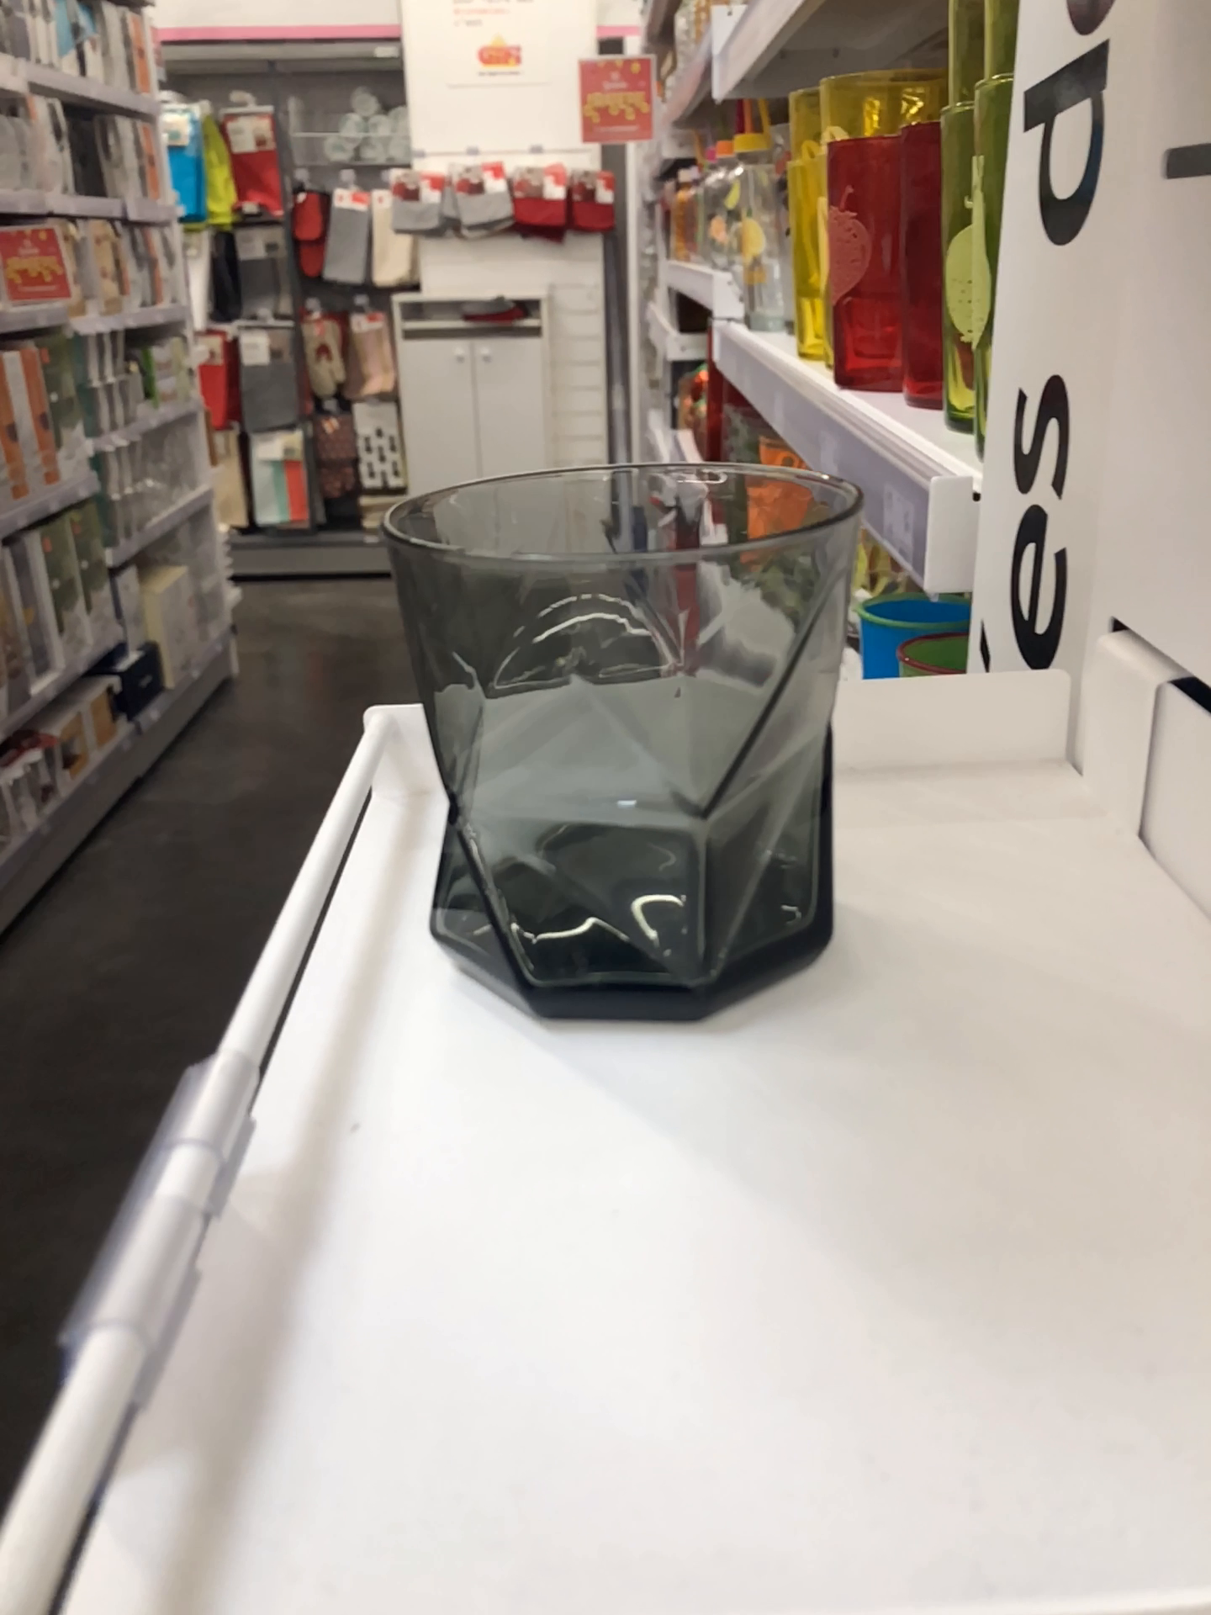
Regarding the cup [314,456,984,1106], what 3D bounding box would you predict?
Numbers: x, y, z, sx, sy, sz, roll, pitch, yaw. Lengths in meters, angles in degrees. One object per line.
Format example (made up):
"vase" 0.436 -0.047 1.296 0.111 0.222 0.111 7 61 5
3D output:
"cup" 0.003 -0.014 0.251 0.089 0.080 0.094 -2 23 1
